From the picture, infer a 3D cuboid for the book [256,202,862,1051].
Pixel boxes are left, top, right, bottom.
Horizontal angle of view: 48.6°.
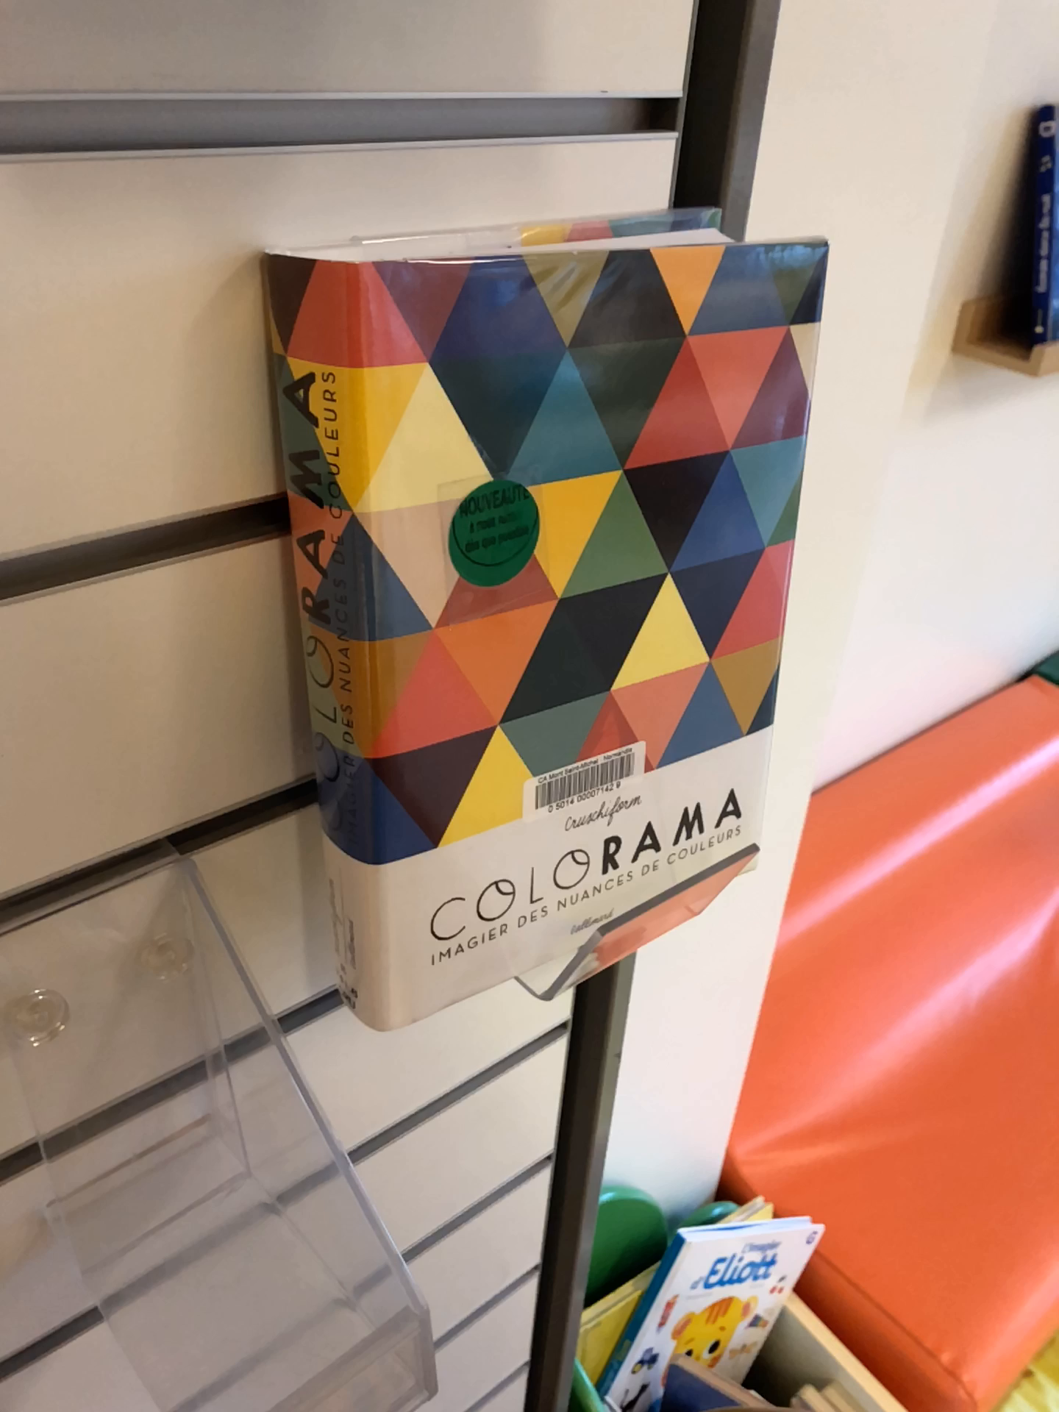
[{"bbox_3d":[0.015,-0.029,0.368,0.171,0.231,0.046,-17,31,-31],"label":"book"}]
